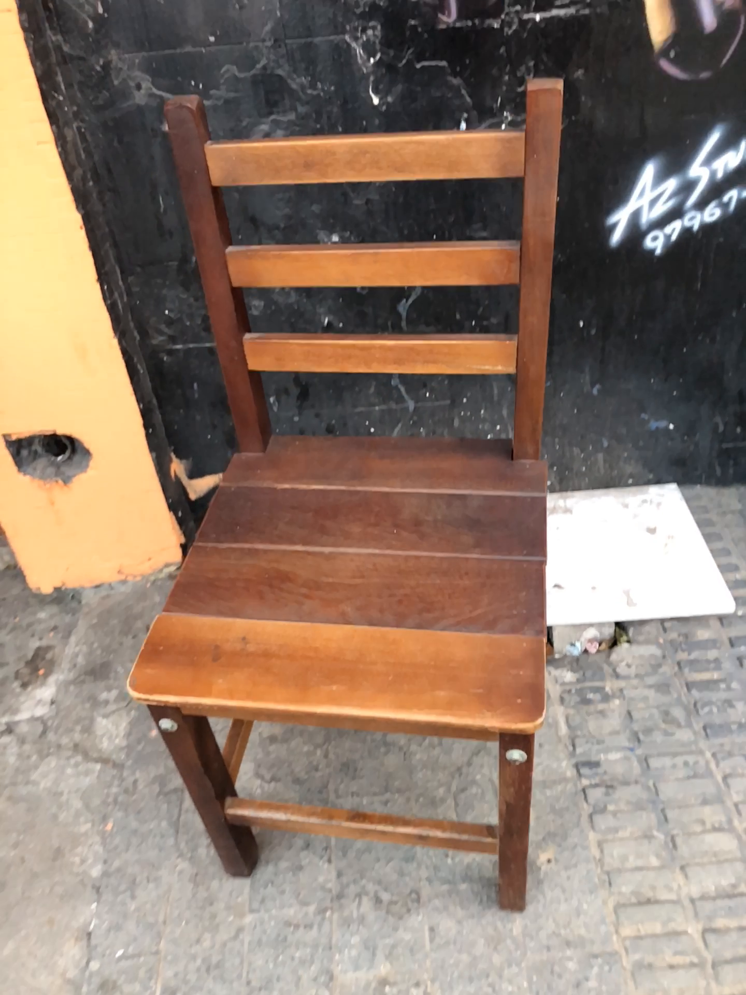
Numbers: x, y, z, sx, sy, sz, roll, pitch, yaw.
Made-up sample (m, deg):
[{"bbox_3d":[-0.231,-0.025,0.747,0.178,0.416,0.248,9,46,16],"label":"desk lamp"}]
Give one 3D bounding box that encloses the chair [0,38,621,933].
[{"bbox_3d":[-0.005,0.021,0.973,0.460,0.894,0.503,2,39,11],"label":"chair"}]
